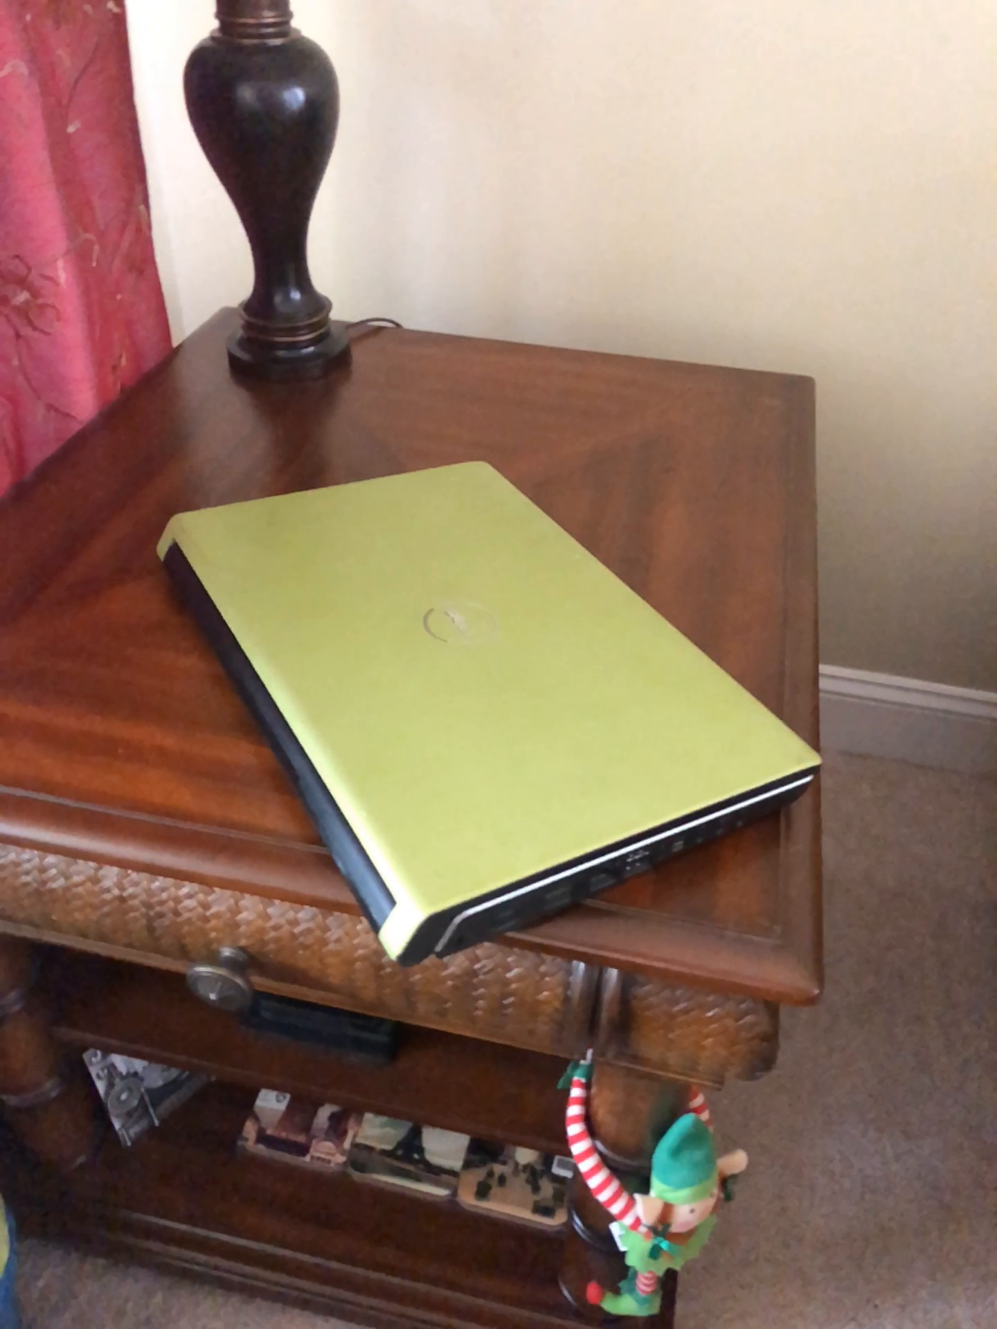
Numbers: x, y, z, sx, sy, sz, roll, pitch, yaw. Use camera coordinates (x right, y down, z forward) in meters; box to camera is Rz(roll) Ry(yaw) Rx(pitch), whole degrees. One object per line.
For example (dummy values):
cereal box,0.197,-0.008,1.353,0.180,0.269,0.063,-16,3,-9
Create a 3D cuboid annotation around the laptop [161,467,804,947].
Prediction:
laptop,-0.032,-0.013,0.666,0.237,0.020,0.379,-15,41,-27
